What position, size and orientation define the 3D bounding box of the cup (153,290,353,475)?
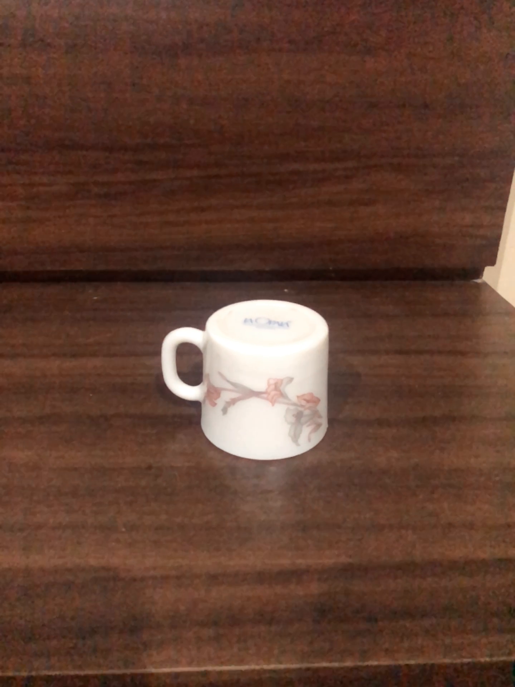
[{"bbox_3d":[0.000,0.018,0.298,0.090,0.070,0.060,3,30,5],"label":"cup"}]
